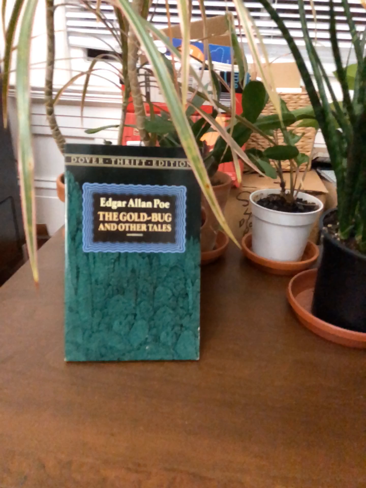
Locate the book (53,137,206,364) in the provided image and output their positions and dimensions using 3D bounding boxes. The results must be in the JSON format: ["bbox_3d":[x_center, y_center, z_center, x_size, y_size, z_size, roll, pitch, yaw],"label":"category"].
[{"bbox_3d":[-0.051,0.008,0.383,0.140,0.210,0.020,1,2,-5],"label":"book"}]
